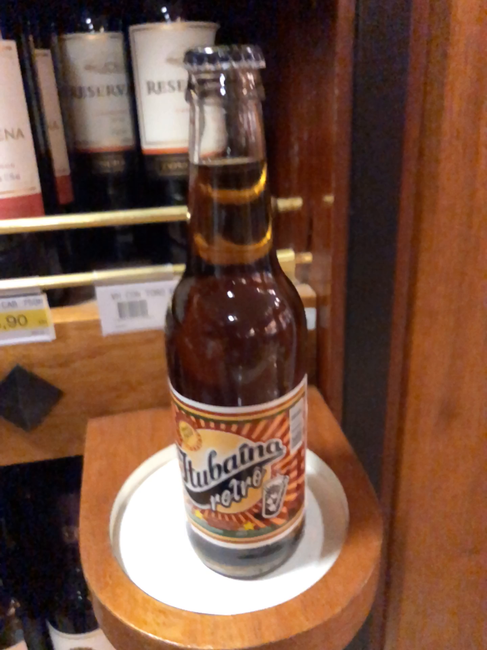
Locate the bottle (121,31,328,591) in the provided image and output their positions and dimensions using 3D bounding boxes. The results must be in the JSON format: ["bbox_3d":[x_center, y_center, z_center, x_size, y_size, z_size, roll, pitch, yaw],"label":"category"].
[{"bbox_3d":[0.000,0.005,0.263,0.070,0.248,0.071,-2,22,1],"label":"bottle"}]
